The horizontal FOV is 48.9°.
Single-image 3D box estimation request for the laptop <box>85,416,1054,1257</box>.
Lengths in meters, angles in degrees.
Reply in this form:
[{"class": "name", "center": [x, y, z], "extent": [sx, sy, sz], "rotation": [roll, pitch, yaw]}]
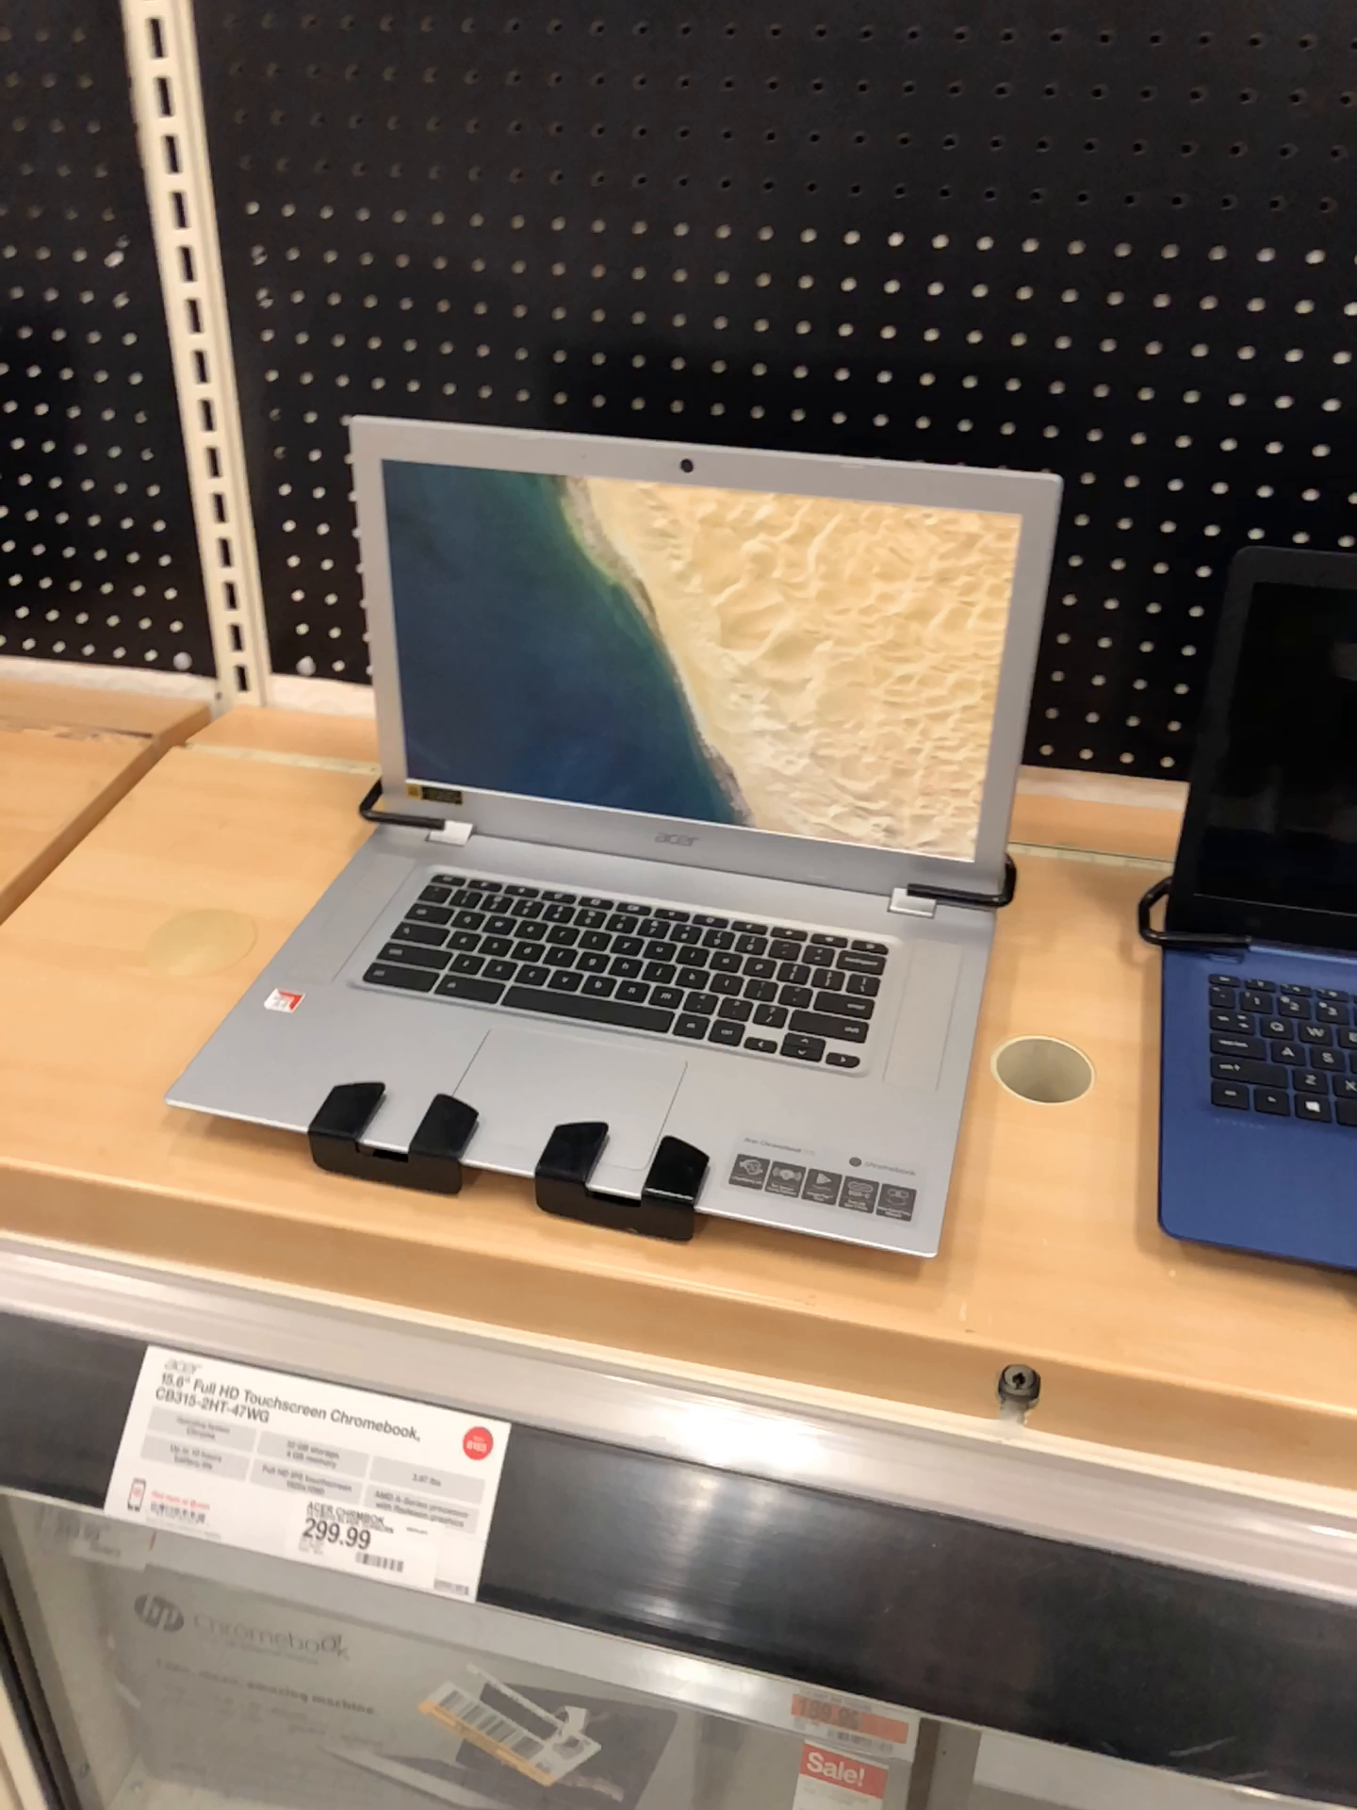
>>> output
[{"class": "laptop", "center": [-0.029, -0.062, 0.742], "extent": [0.371, 0.246, 0.287], "rotation": [8, 33, 13]}]
